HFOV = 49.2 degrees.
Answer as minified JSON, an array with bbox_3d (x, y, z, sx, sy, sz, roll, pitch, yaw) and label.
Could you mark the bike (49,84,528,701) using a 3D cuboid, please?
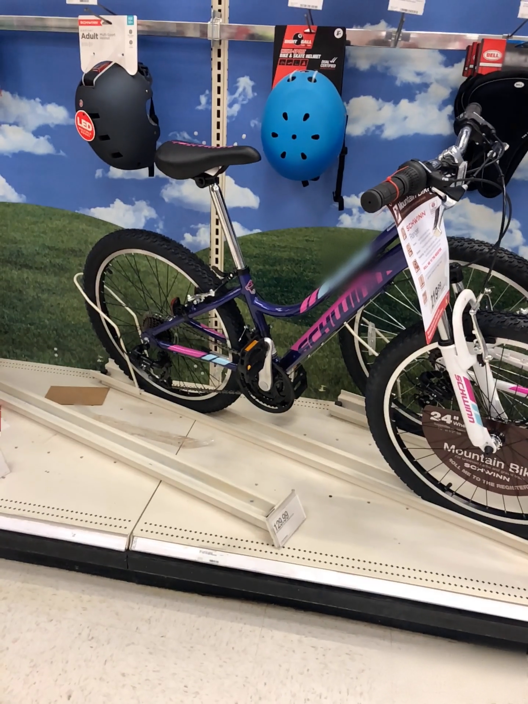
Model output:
[{"bbox_3d":[0.188,-0.112,1.222,1.223,0.799,0.570,20,29,35],"label":"bike"}]
